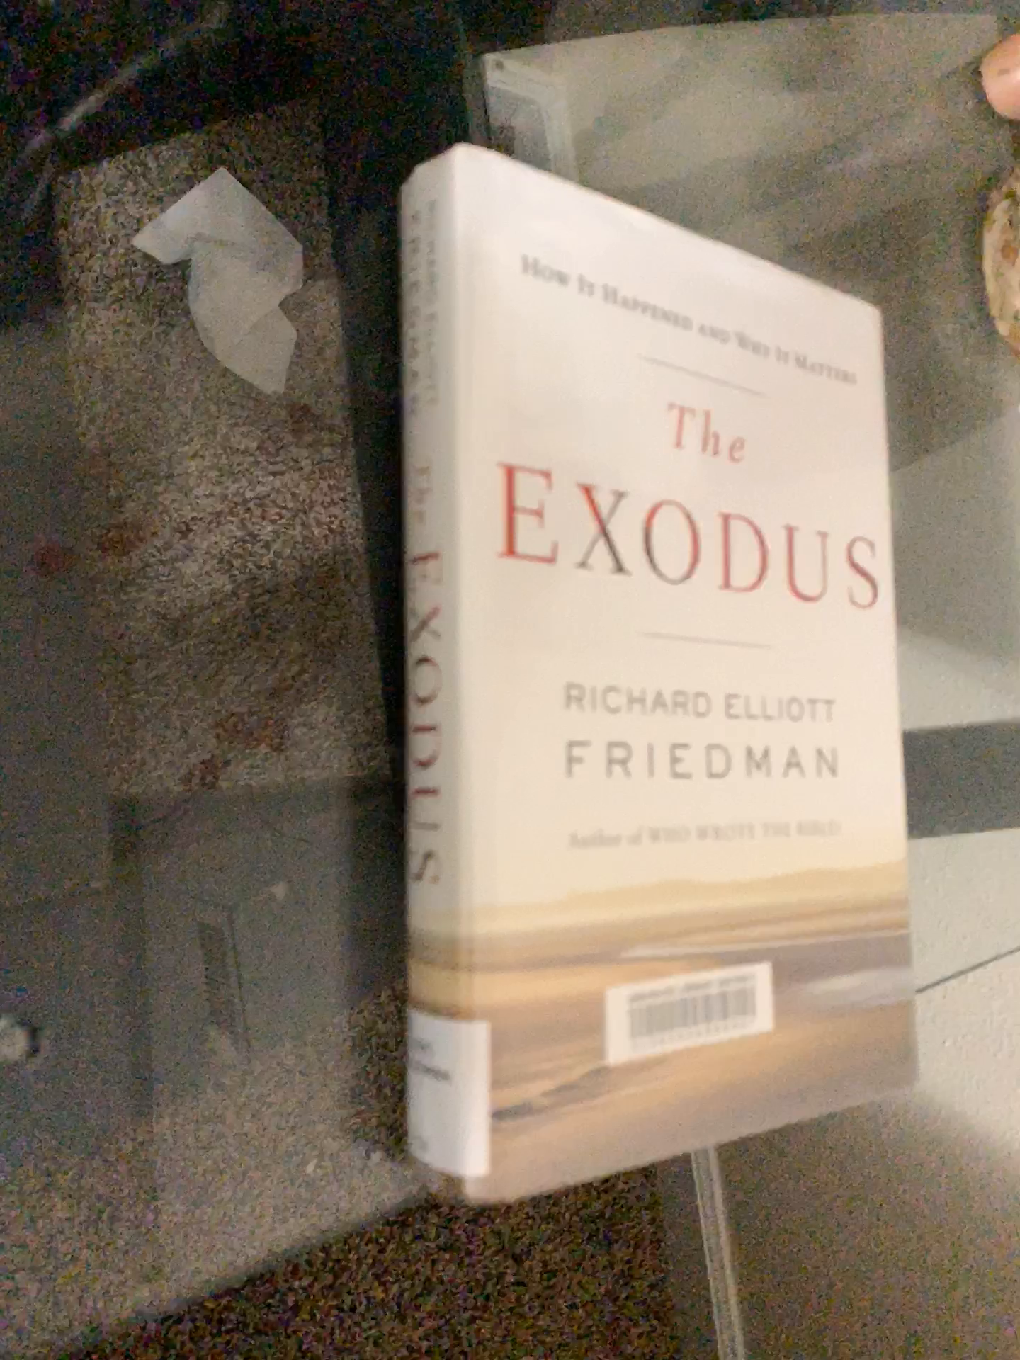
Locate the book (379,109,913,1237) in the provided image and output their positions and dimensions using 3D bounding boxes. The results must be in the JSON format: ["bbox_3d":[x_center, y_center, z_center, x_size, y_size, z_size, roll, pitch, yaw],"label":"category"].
[{"bbox_3d":[0.046,0.000,0.273,0.161,0.030,0.231,3,87,-37],"label":"book"}]
